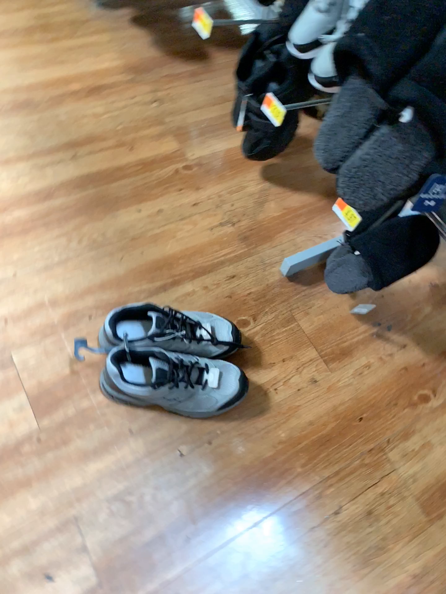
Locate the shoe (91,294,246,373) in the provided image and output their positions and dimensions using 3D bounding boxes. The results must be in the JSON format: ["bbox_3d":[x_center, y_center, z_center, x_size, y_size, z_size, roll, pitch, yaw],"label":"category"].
[{"bbox_3d":[-0.112,0.083,0.983,0.308,0.099,0.124,4,61,-7],"label":"shoe"}]

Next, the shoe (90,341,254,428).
[{"bbox_3d":[-0.098,0.181,0.929,0.307,0.089,0.117,8,61,-5],"label":"shoe"}]
